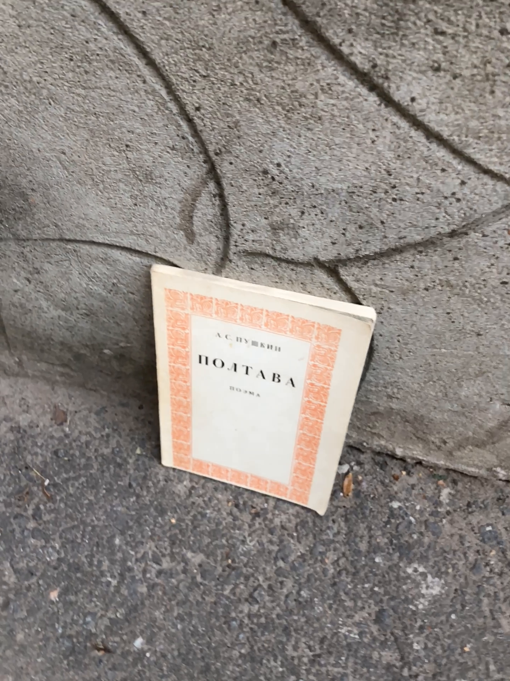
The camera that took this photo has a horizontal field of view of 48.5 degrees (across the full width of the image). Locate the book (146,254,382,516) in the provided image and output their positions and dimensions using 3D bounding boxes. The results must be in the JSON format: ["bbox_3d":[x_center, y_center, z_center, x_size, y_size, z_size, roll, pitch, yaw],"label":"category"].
[{"bbox_3d":[-0.003,0.043,0.421,0.150,0.199,0.020,15,41,11],"label":"book"}]
